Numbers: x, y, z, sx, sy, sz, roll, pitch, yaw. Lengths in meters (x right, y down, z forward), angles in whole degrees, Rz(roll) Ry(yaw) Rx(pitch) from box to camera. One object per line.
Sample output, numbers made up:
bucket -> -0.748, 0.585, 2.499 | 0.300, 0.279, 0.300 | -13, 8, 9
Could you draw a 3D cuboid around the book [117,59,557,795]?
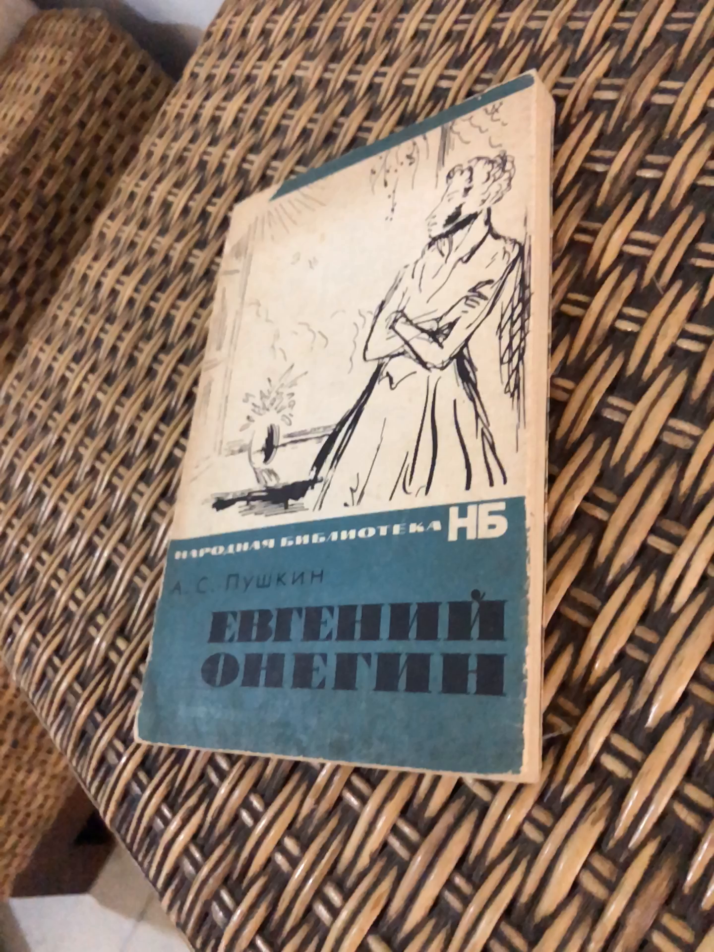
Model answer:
book -> -0.004, -0.016, 0.232 | 0.120, 0.020, 0.190 | -9, 65, 35
